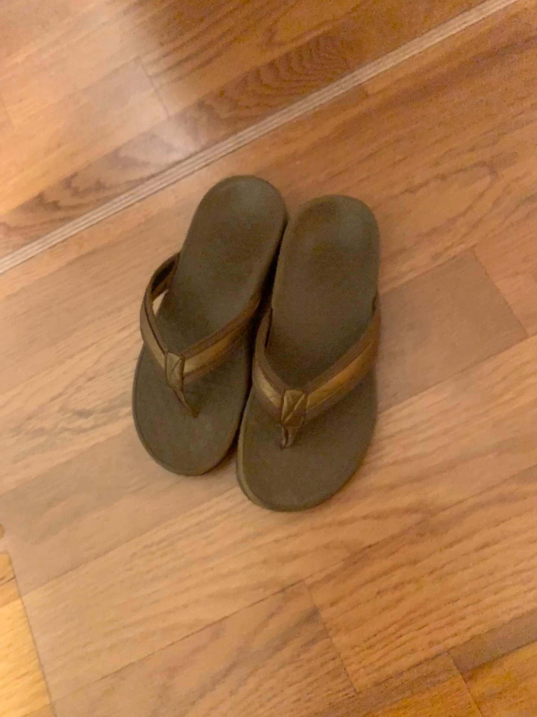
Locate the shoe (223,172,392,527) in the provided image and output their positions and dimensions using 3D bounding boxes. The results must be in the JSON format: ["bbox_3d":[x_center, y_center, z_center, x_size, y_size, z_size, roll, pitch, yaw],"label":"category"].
[{"bbox_3d":[0.035,-0.010,0.417,0.099,0.061,0.247,3,78,12],"label":"shoe"}]

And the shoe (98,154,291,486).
[{"bbox_3d":[-0.053,-0.034,0.445,0.091,0.049,0.251,9,80,13],"label":"shoe"}]
